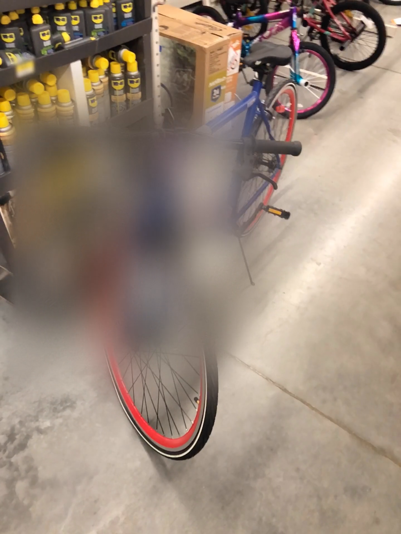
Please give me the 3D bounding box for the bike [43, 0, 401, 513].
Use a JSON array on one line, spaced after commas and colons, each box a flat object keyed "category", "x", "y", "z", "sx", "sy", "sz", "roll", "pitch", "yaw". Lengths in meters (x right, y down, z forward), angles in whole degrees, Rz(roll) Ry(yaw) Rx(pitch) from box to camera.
[{"category": "bike", "x": 0.241, "y": -0.290, "z": 1.390, "sx": 0.602, "sy": 0.938, "sz": 1.498, "roll": 14, "pitch": 43, "yaw": 11}]
